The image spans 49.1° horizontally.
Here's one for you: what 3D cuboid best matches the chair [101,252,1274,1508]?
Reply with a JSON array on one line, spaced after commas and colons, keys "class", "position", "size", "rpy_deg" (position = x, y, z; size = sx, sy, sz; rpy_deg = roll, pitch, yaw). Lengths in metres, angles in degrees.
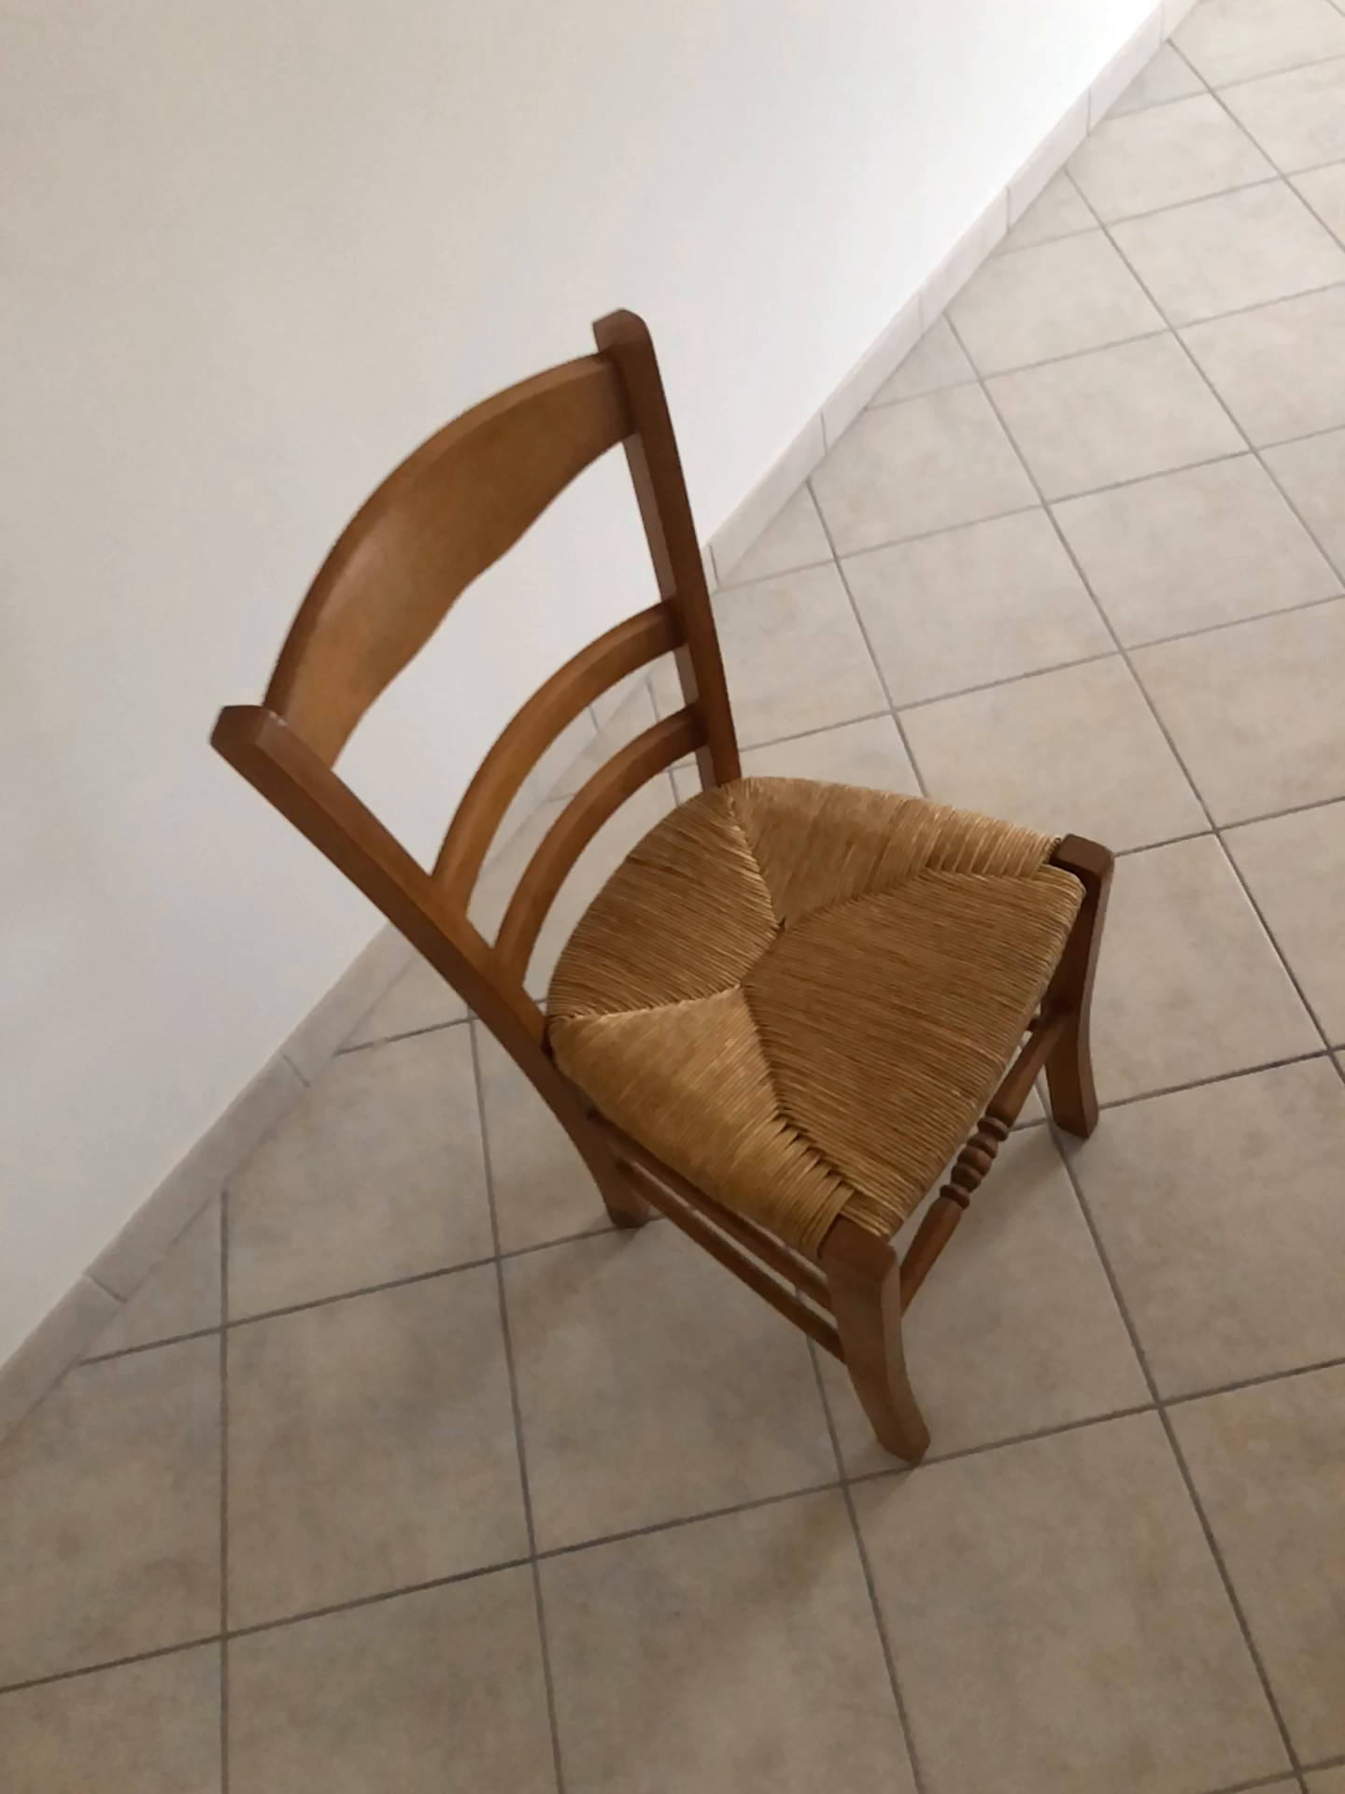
[{"class": "chair", "position": [0.072, 0.044, 1.158], "size": [0.500, 0.827, 0.451], "rpy_deg": [24, 63, 25]}]
